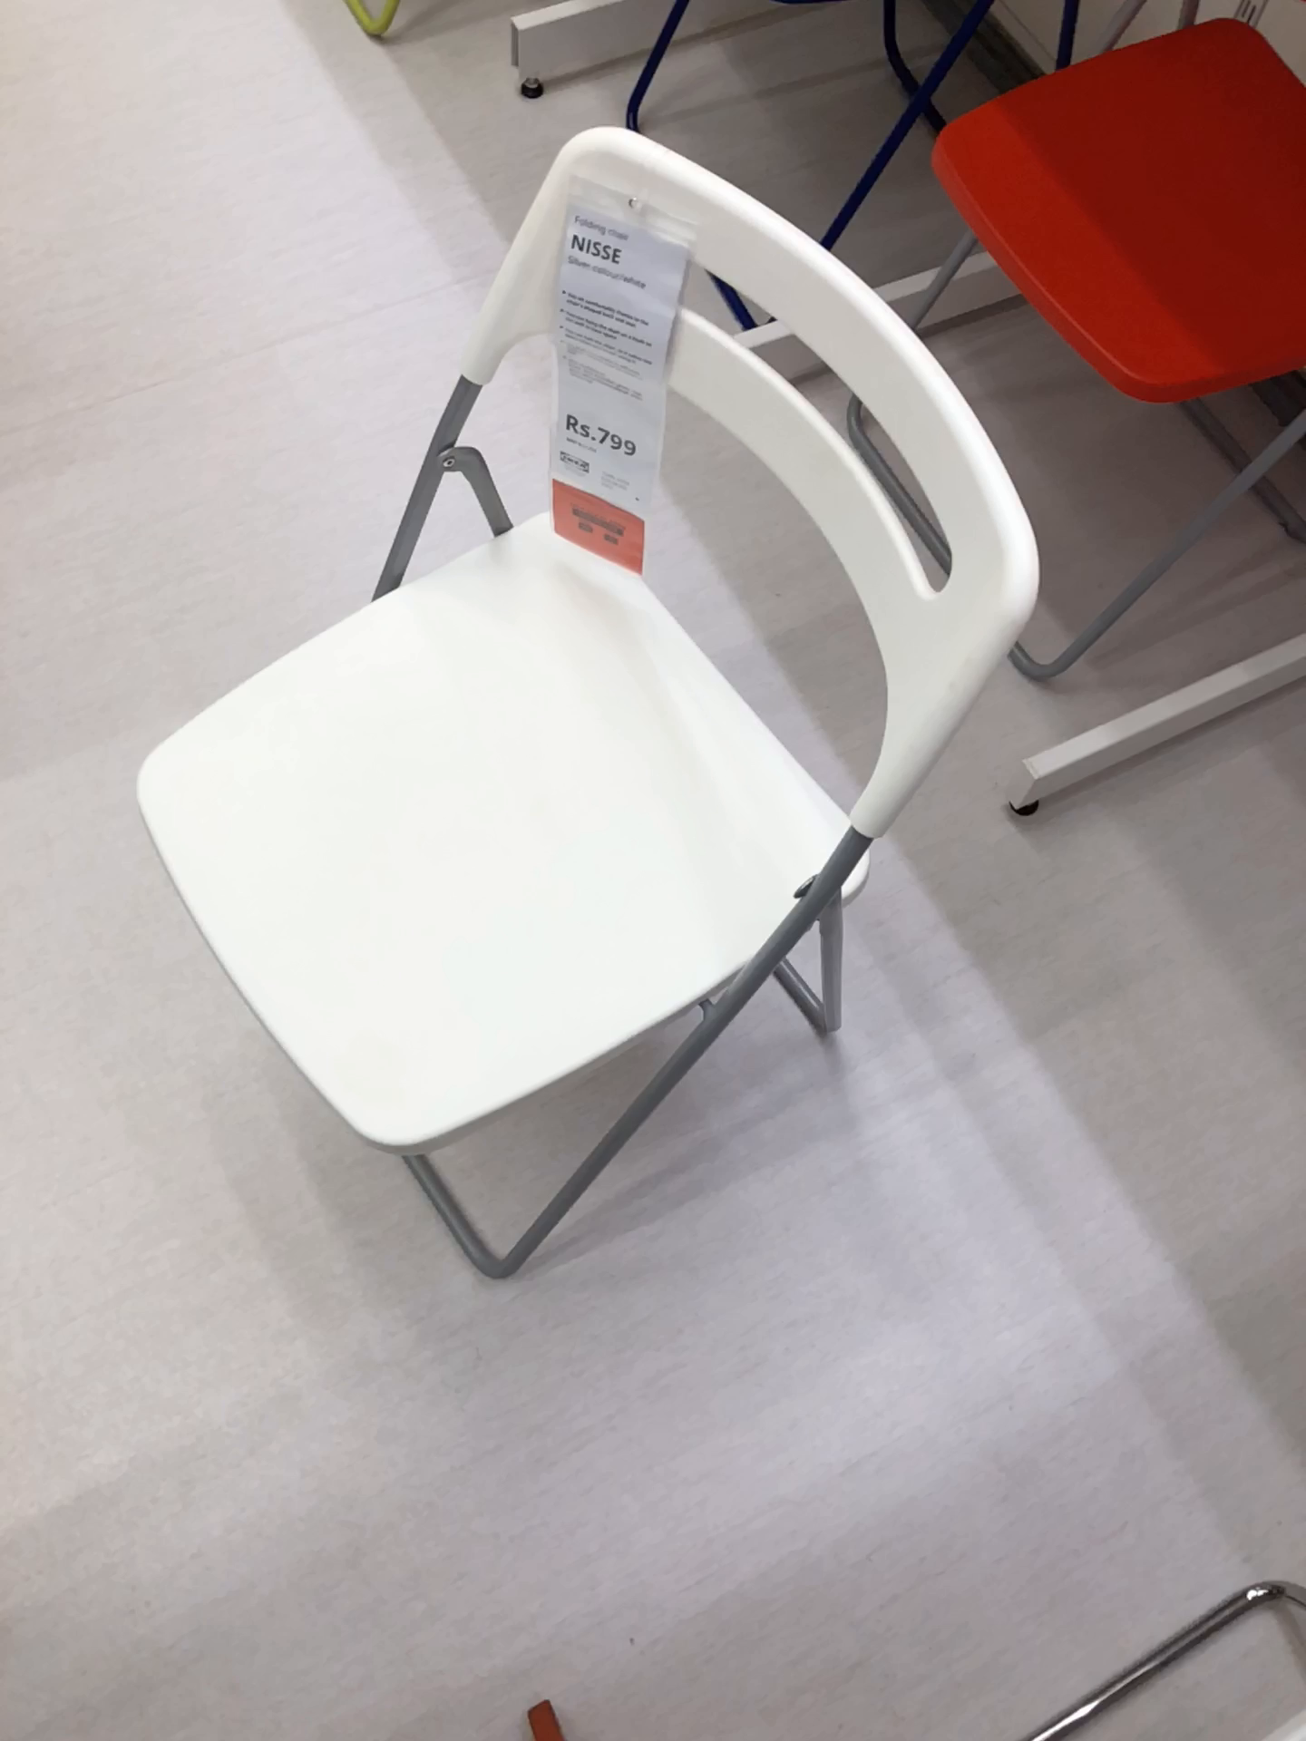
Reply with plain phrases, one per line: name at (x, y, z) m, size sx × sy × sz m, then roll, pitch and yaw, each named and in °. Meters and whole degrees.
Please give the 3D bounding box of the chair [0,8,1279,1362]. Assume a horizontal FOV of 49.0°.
chair at (-0.069, -0.062, 1.024) m, size 0.541 × 0.668 × 0.501 m, roll -33°, pitch 72°, yaw -17°
